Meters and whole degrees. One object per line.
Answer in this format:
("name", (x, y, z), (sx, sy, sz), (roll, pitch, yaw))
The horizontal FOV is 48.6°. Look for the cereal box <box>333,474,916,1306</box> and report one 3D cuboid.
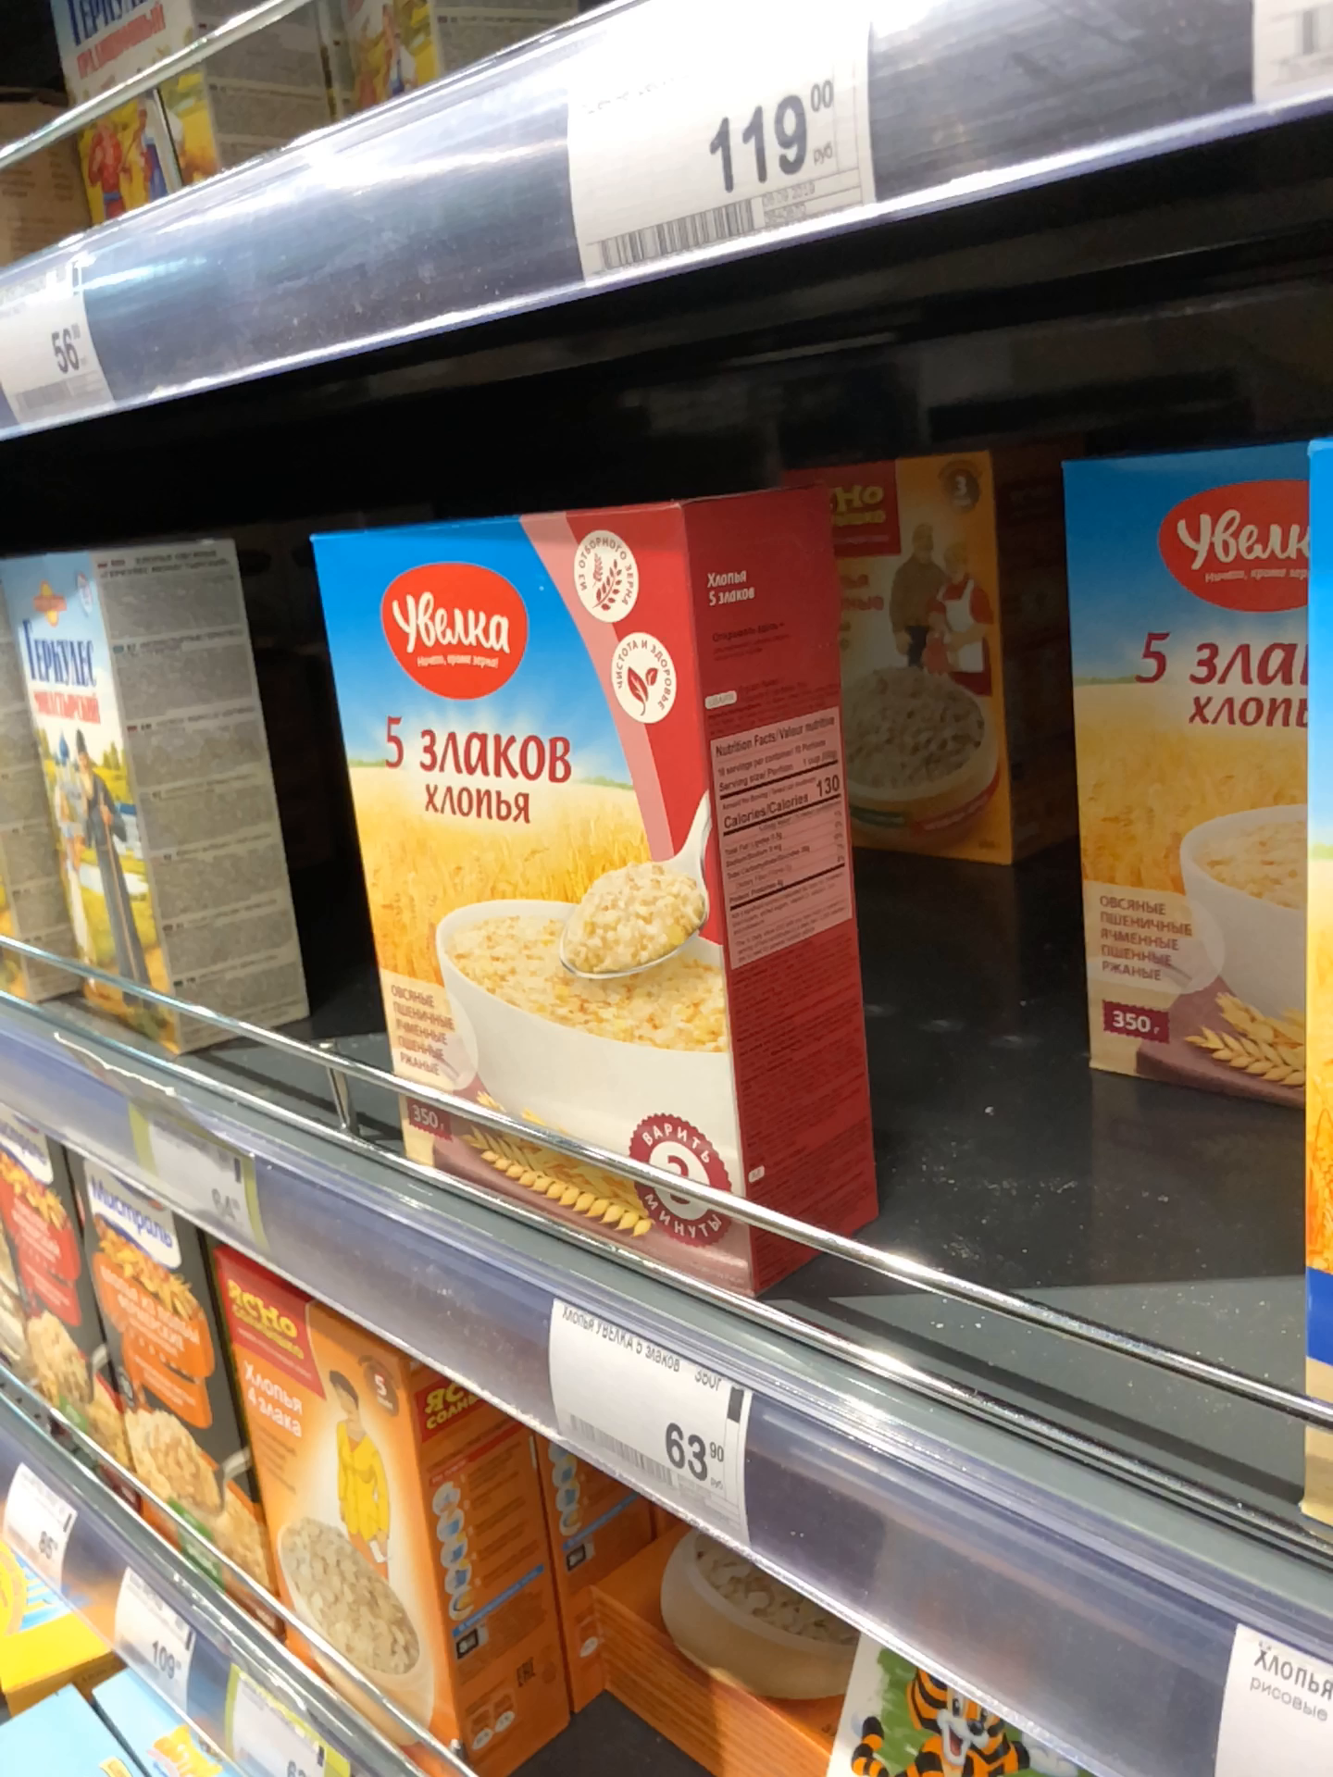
("cereal box", (-0.014, -0.007, 0.398), (0.150, 0.189, 0.050), (9, 20, 44))
